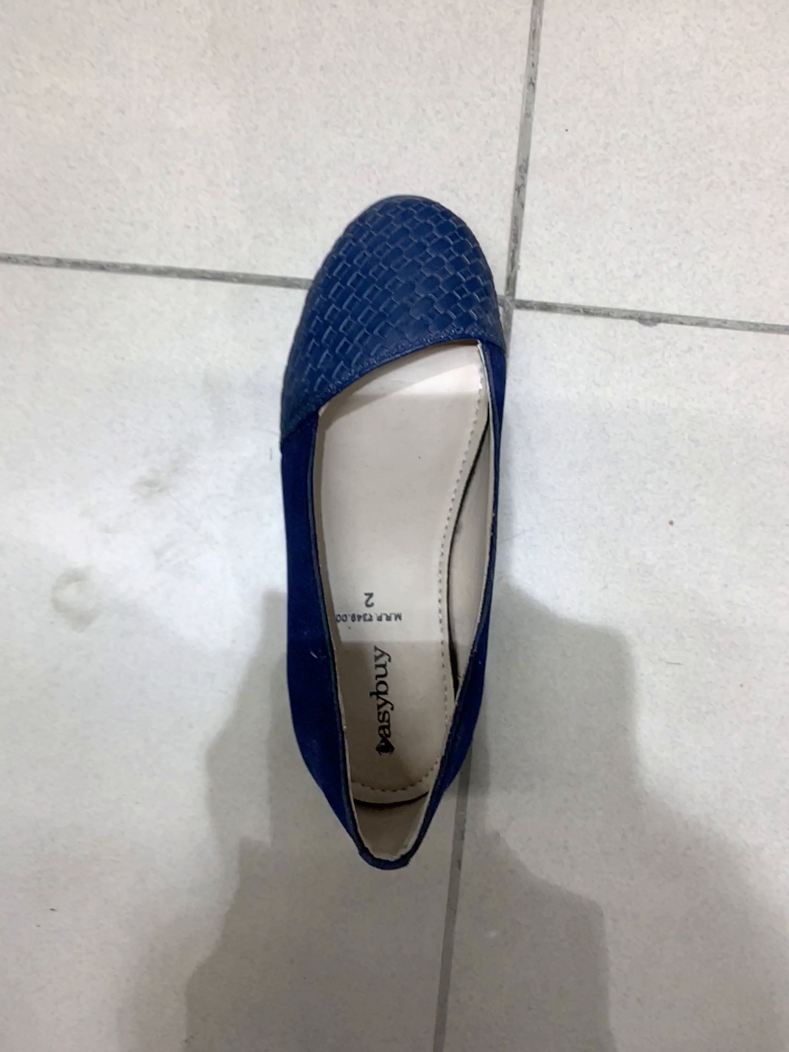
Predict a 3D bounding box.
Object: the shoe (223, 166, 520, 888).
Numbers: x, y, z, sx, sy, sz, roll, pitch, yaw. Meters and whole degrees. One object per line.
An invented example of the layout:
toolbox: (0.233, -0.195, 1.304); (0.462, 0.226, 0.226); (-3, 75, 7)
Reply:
shoe: (-0.007, 0.001, 0.280); (0.090, 0.060, 0.220); (0, 91, 2)
